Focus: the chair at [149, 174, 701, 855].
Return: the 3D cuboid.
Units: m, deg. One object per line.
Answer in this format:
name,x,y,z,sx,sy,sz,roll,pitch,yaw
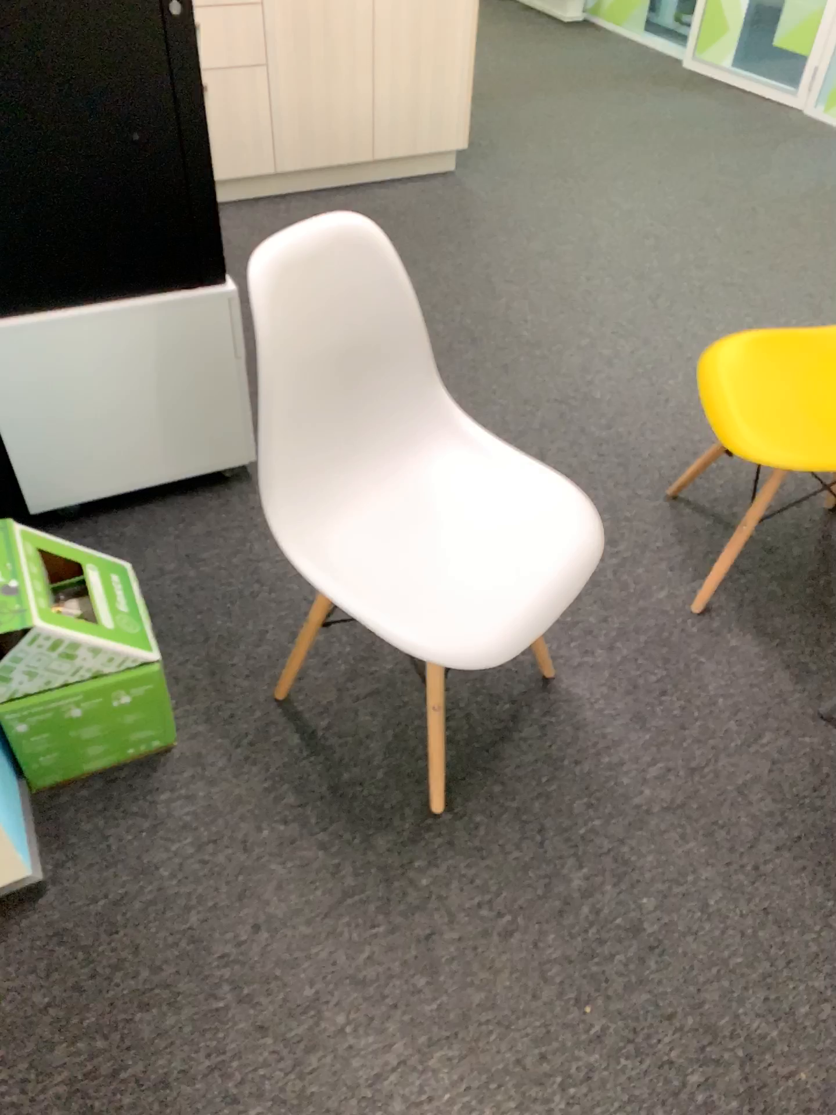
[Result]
chair,0.000,-0.049,1.318,0.501,0.815,0.462,30,50,25
